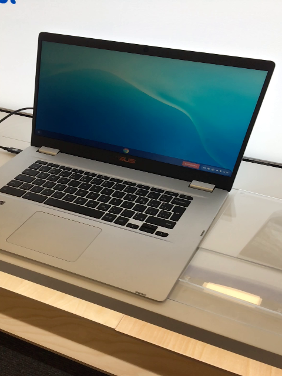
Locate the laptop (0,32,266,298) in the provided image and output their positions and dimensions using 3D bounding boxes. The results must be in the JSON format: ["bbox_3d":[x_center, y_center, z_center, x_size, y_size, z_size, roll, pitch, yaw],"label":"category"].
[{"bbox_3d":[-0.076,-0.061,0.554,0.376,0.198,0.322,17,48,18],"label":"laptop"}]
